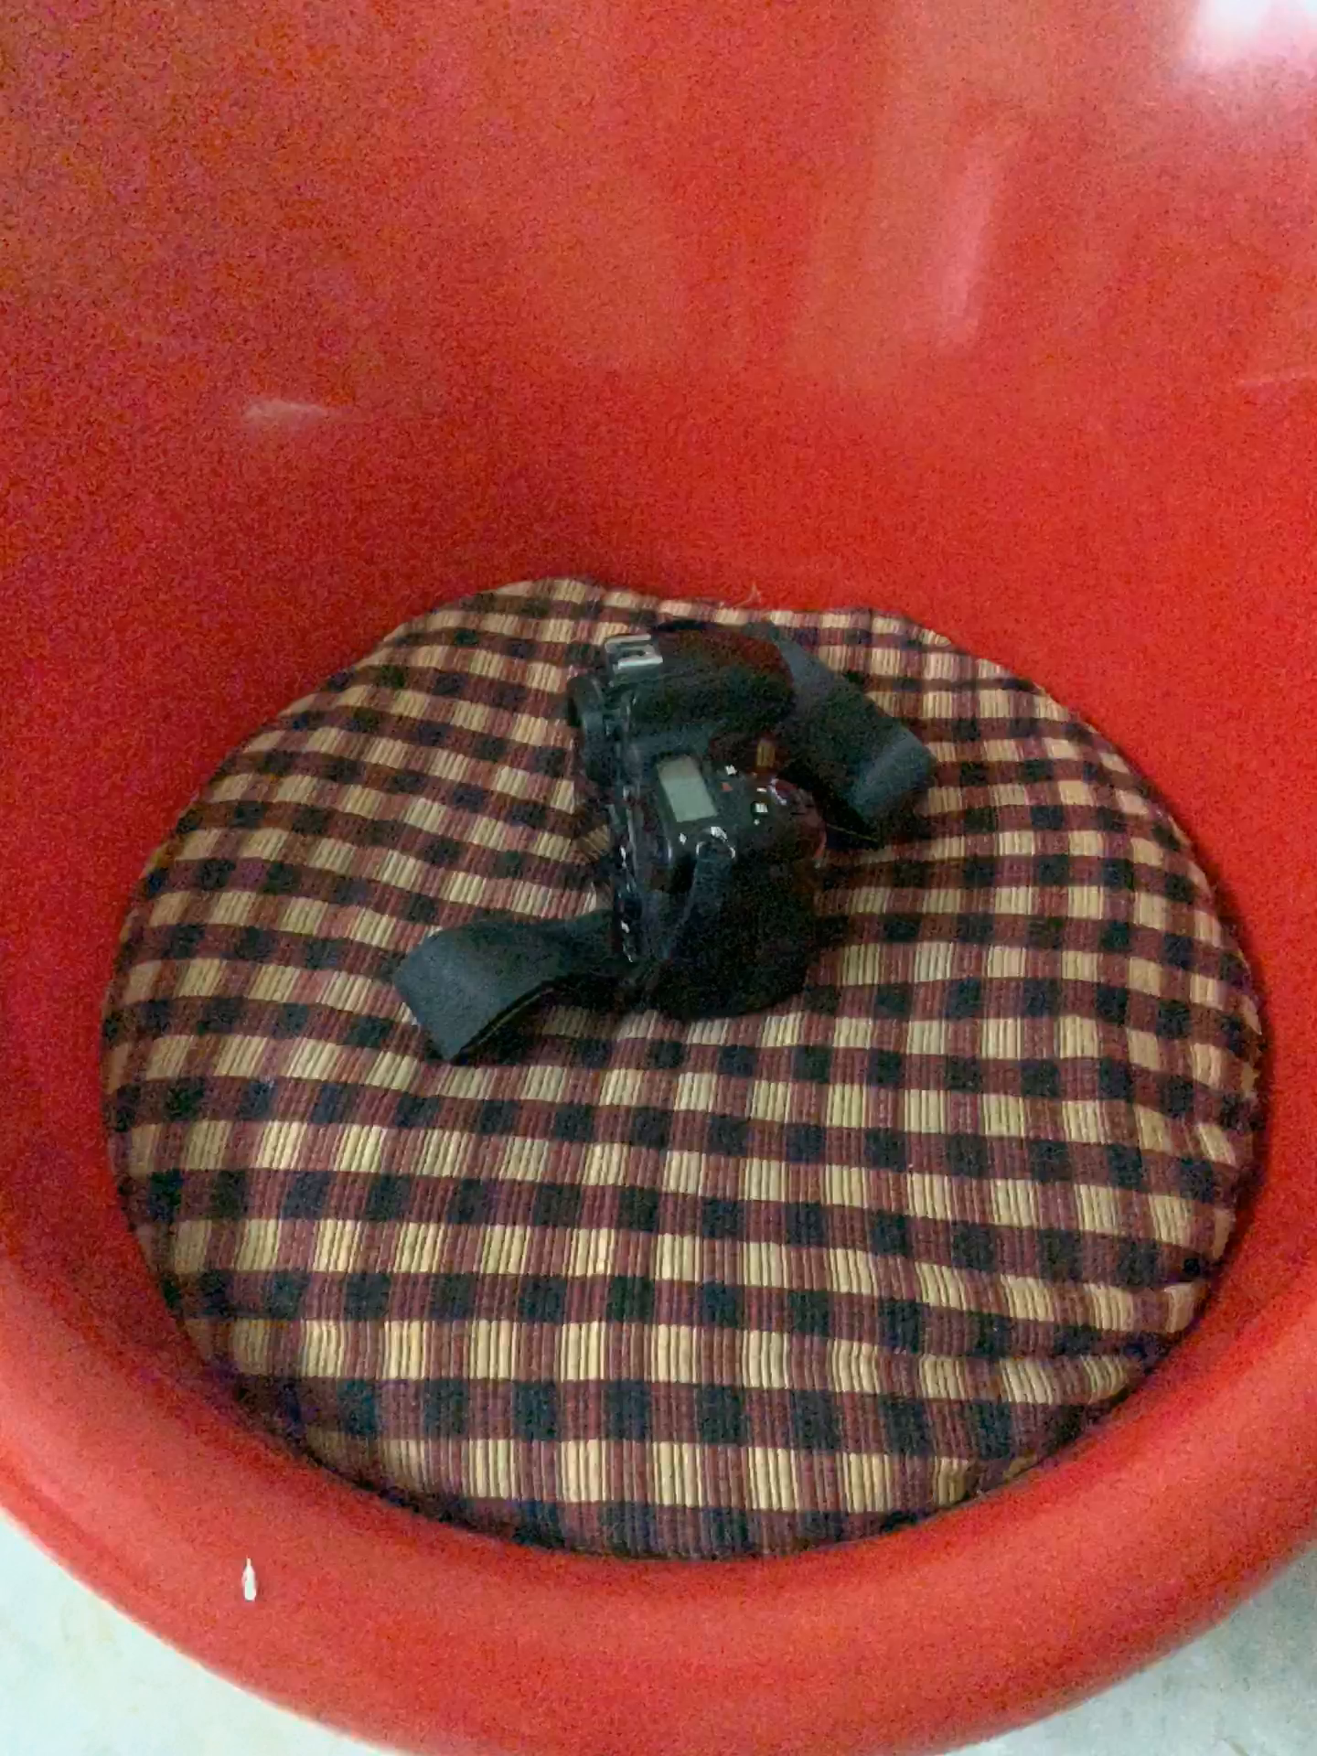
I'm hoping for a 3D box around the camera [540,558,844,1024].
[{"bbox_3d":[0.006,-0.035,0.493,0.080,0.090,0.141,-6,49,-7],"label":"camera"}]
